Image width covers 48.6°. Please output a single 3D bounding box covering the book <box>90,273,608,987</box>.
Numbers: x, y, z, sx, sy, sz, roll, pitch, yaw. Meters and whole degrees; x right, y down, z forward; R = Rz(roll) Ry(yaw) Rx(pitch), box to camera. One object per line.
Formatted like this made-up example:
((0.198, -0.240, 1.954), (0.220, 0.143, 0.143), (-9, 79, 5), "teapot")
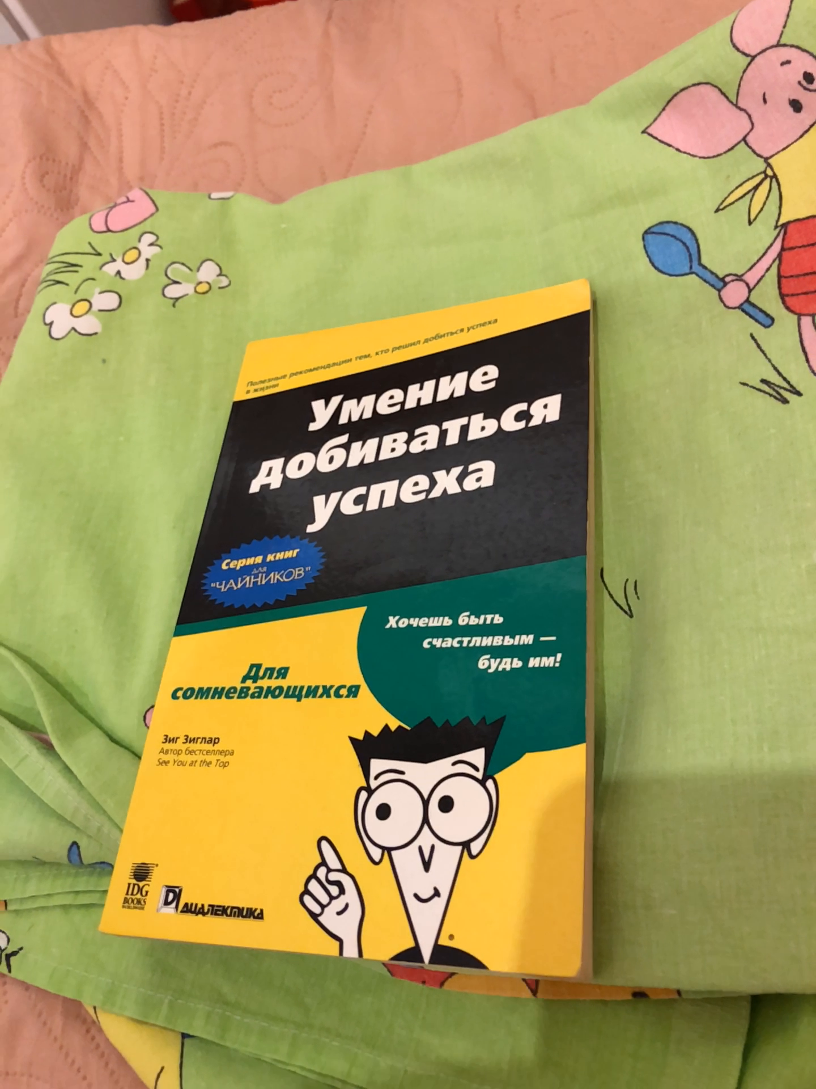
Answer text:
((-0.008, 0.011, 0.254), (0.125, 0.015, 0.192), (-5, 59, 21), "book")
